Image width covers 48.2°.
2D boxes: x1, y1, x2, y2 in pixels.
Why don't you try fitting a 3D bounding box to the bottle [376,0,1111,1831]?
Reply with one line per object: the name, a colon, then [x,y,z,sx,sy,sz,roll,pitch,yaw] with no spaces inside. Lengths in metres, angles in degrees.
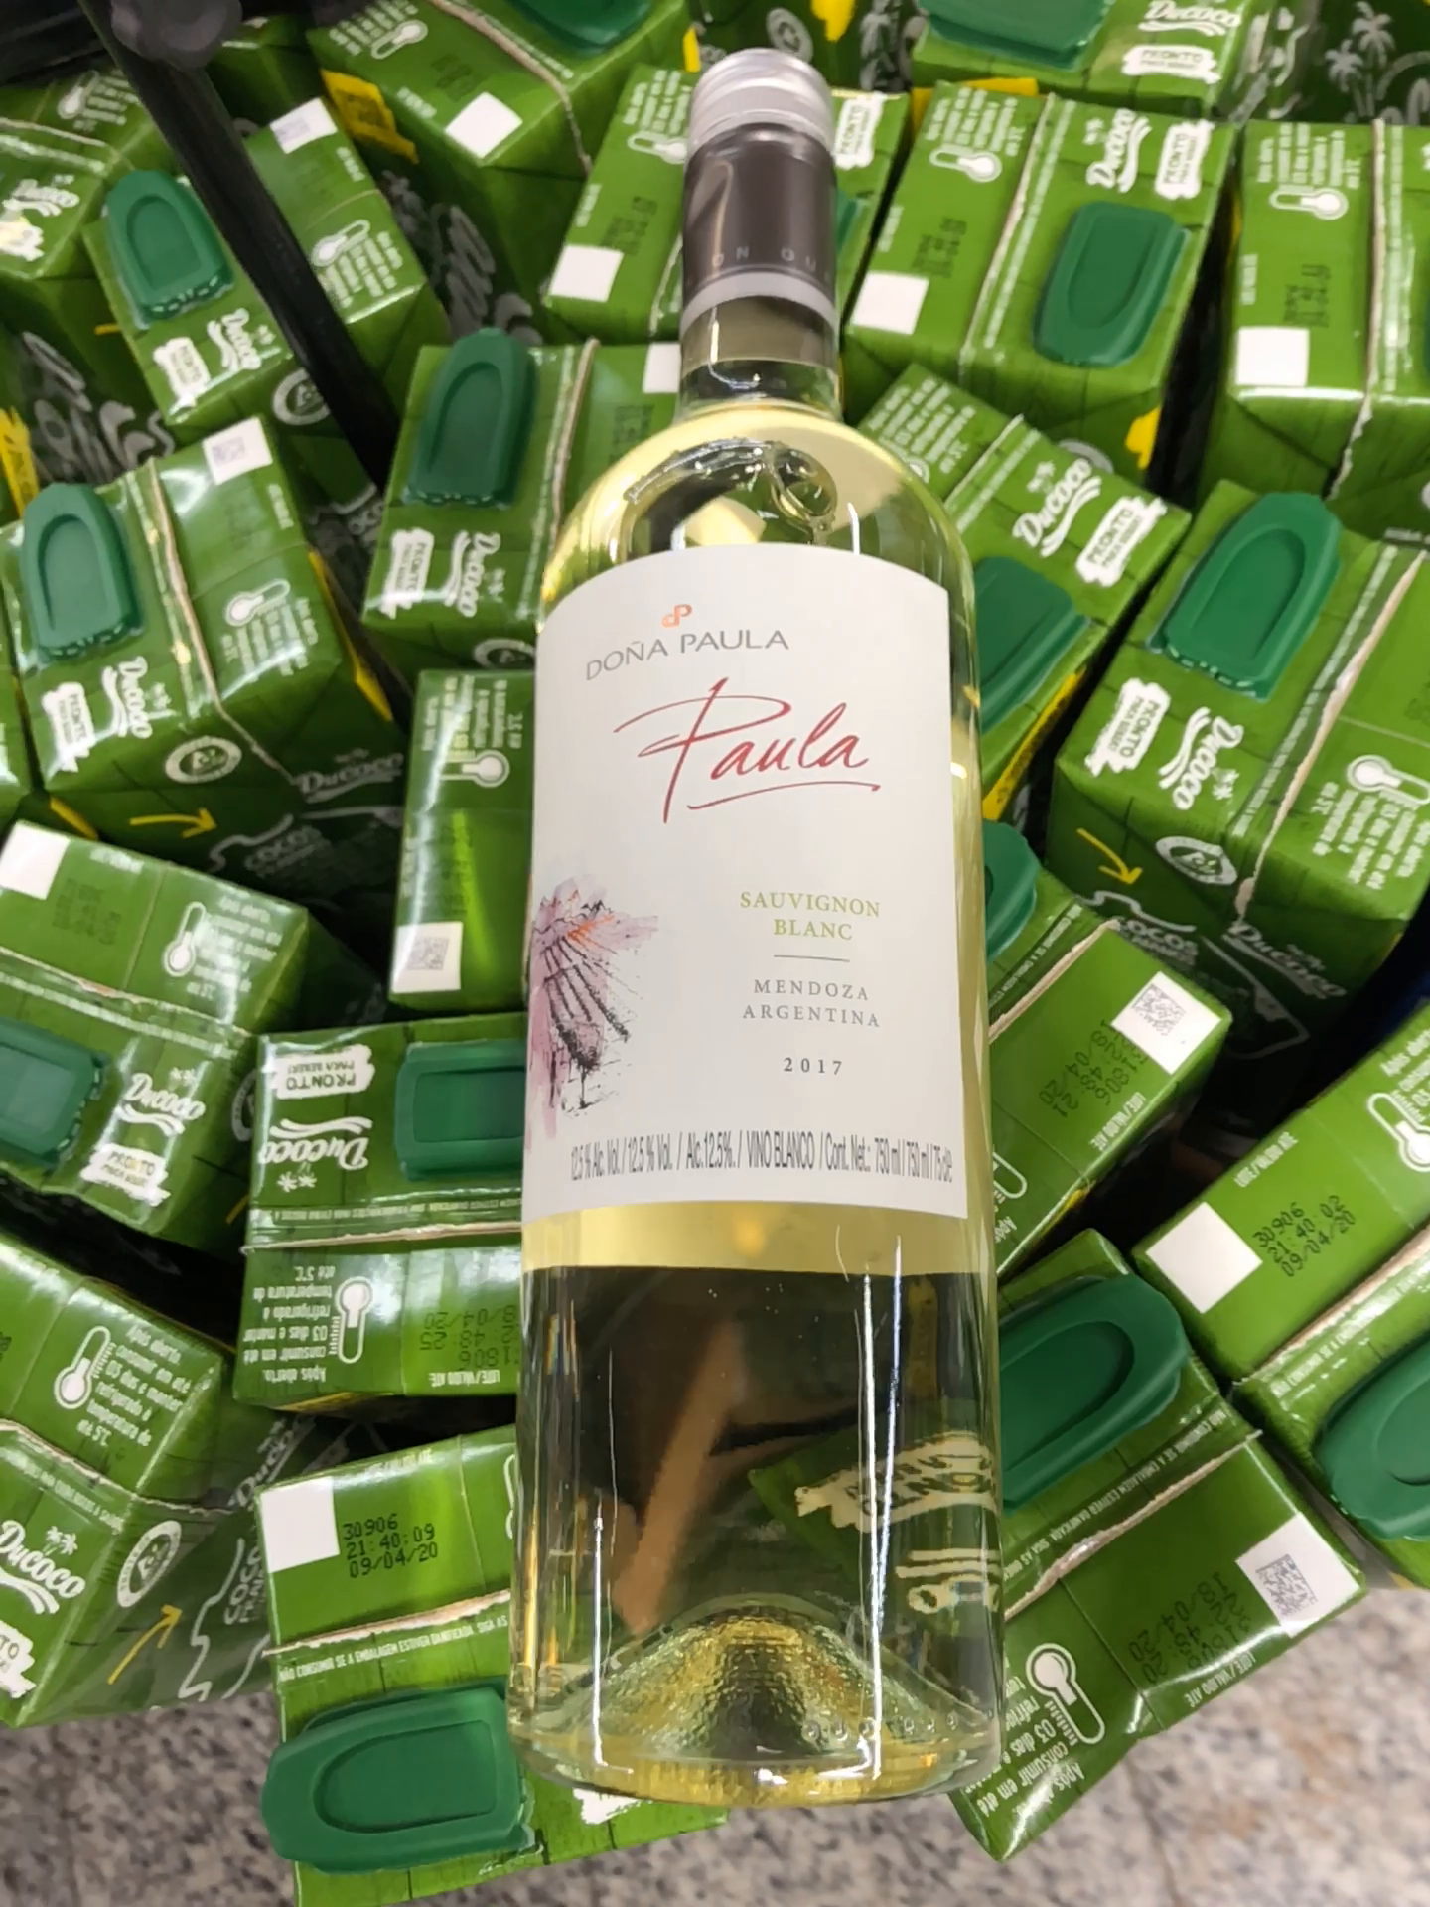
bottle: [0.010,-0.049,0.264,0.080,0.070,0.331,-3,69,9]
